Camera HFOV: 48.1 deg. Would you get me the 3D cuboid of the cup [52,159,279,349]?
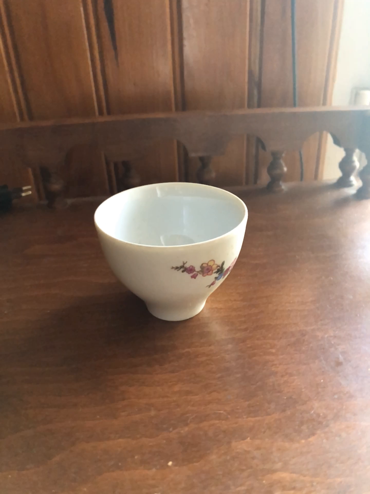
[{"bbox_3d":[-0.005,-0.005,0.223,0.080,0.050,0.091,14,33,26],"label":"cup"}]
